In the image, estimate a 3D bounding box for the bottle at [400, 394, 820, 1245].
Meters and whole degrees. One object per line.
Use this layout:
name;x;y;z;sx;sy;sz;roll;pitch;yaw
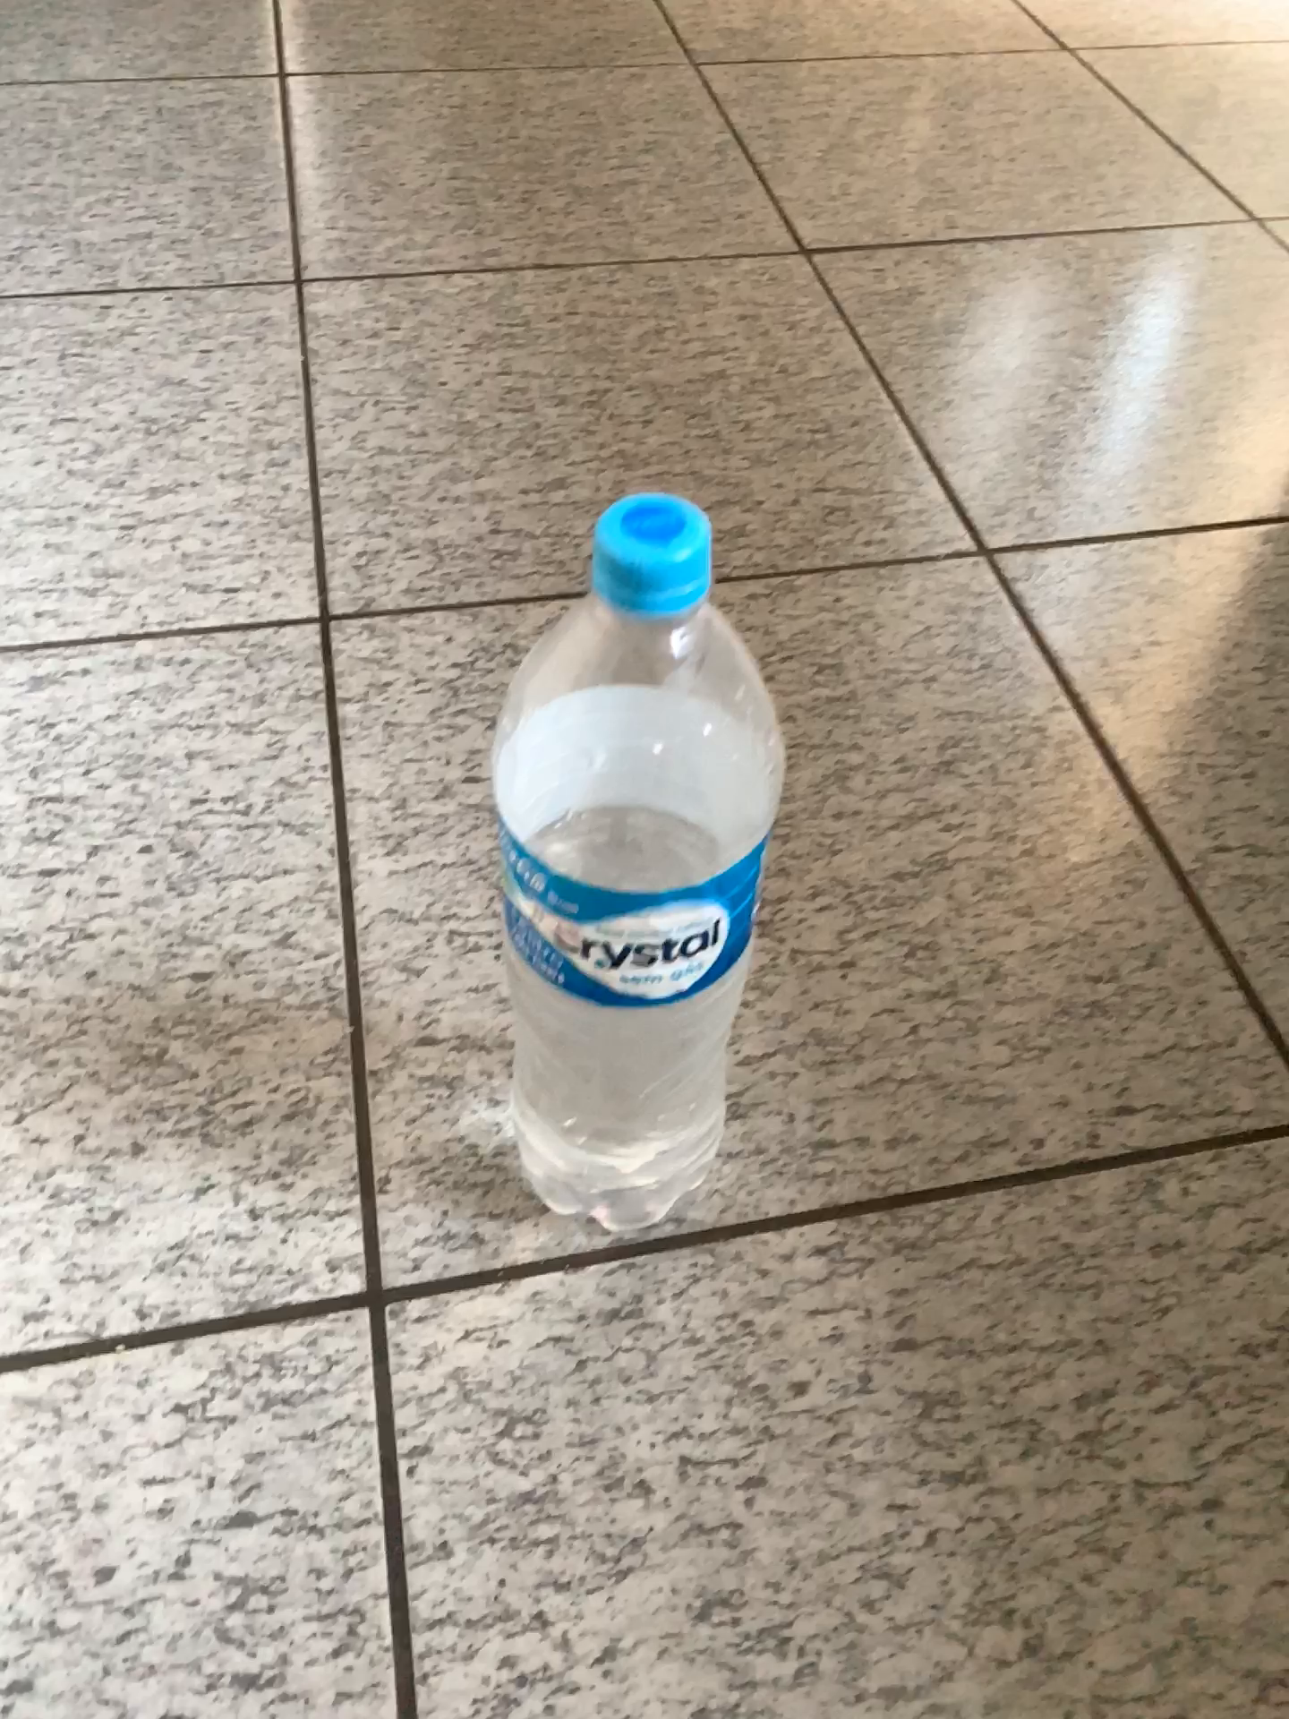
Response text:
bottle;-0.009;0.014;0.427;0.090;0.299;0.090;1;50;-2
